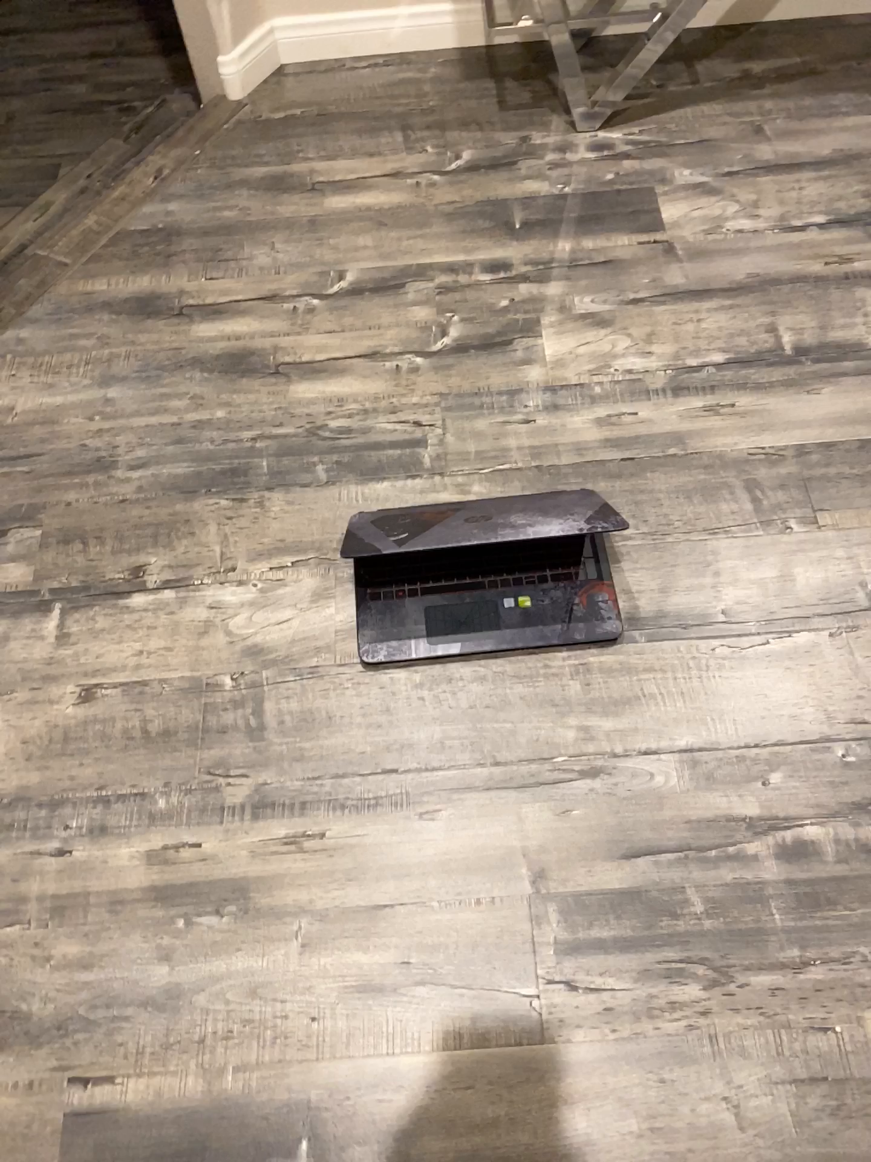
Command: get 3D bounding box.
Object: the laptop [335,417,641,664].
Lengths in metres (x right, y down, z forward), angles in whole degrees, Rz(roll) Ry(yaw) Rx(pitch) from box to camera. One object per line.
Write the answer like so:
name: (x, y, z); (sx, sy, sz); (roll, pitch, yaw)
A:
laptop: (0.063, -0.055, 1.239); (0.374, 0.177, 0.251); (-6, 59, 0)
